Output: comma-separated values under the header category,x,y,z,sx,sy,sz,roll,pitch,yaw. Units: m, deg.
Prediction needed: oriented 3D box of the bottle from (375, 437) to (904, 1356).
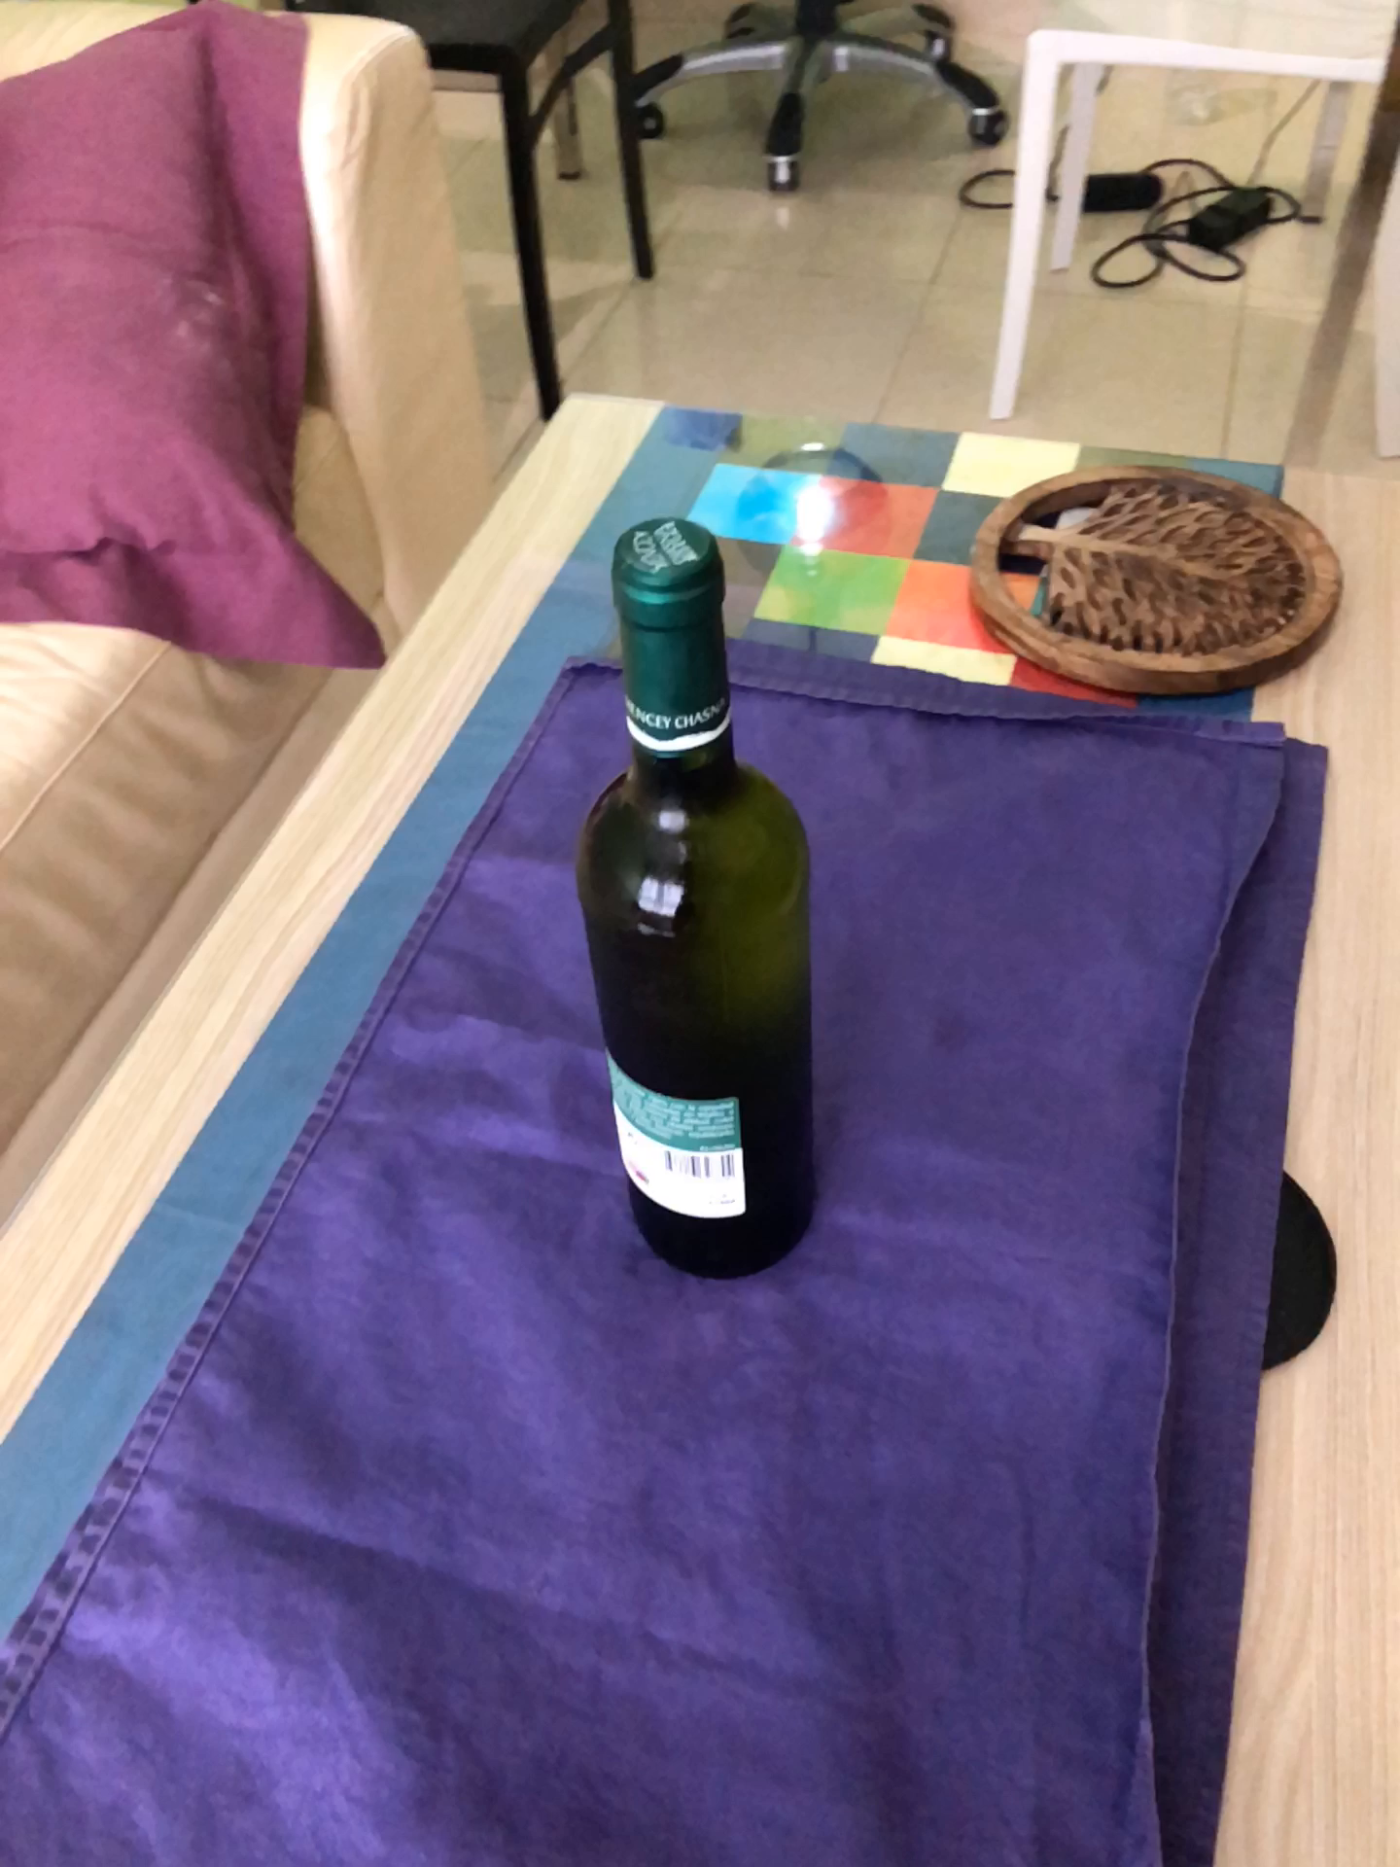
category,x,y,z,sx,sy,sz,roll,pitch,yaw
bottle,-0.006,0.005,0.468,0.090,0.269,0.090,-2,47,2
